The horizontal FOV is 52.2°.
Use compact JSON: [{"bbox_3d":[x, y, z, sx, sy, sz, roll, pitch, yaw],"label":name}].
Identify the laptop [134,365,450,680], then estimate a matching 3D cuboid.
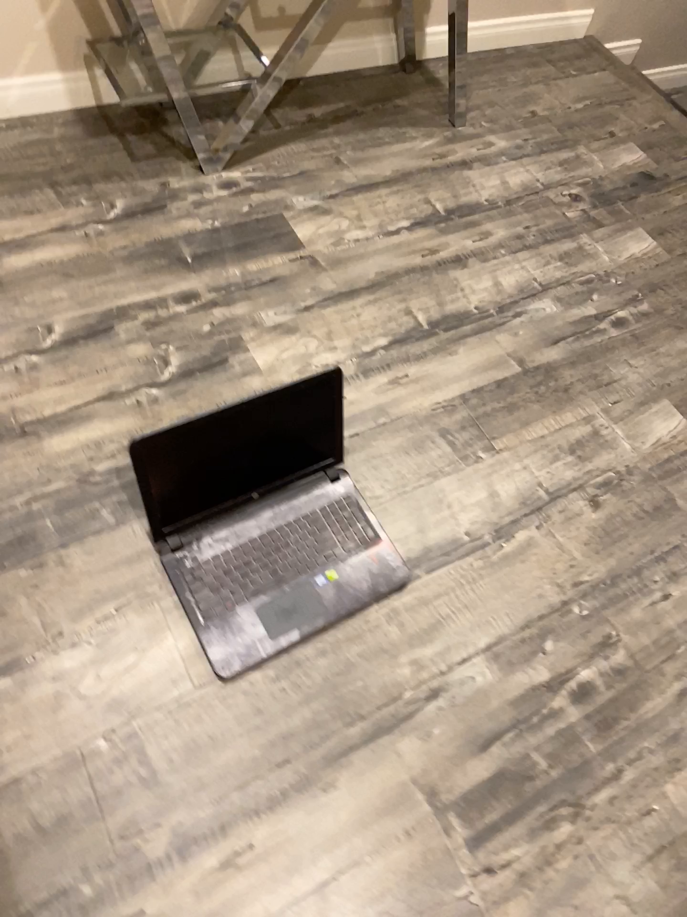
[{"bbox_3d":[-0.093,0.095,1.150,0.372,0.225,0.327,-23,65,-23],"label":"laptop"}]
